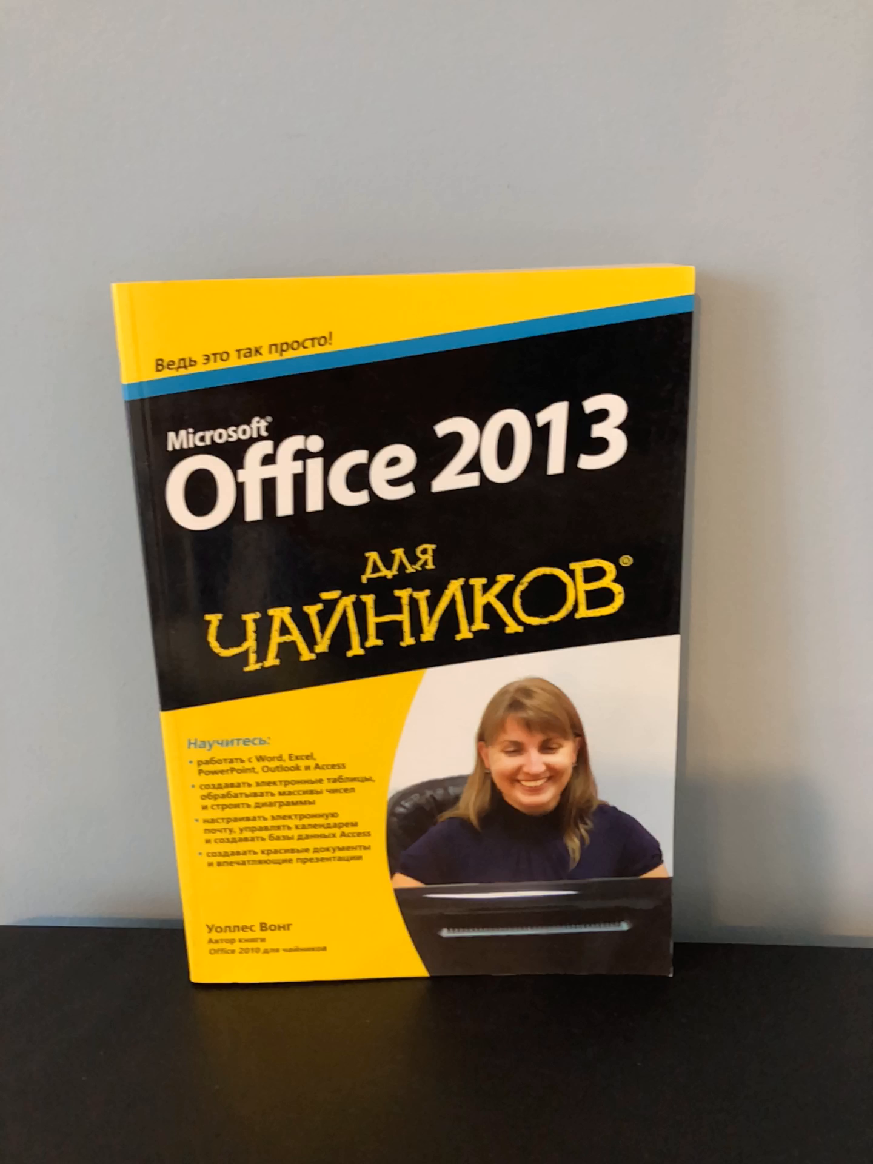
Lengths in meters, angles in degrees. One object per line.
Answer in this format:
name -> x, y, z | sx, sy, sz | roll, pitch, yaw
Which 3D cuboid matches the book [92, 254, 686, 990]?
book -> -0.009, 0.020, 0.314 | 0.164, 0.233, 0.031 | -2, 16, 1
